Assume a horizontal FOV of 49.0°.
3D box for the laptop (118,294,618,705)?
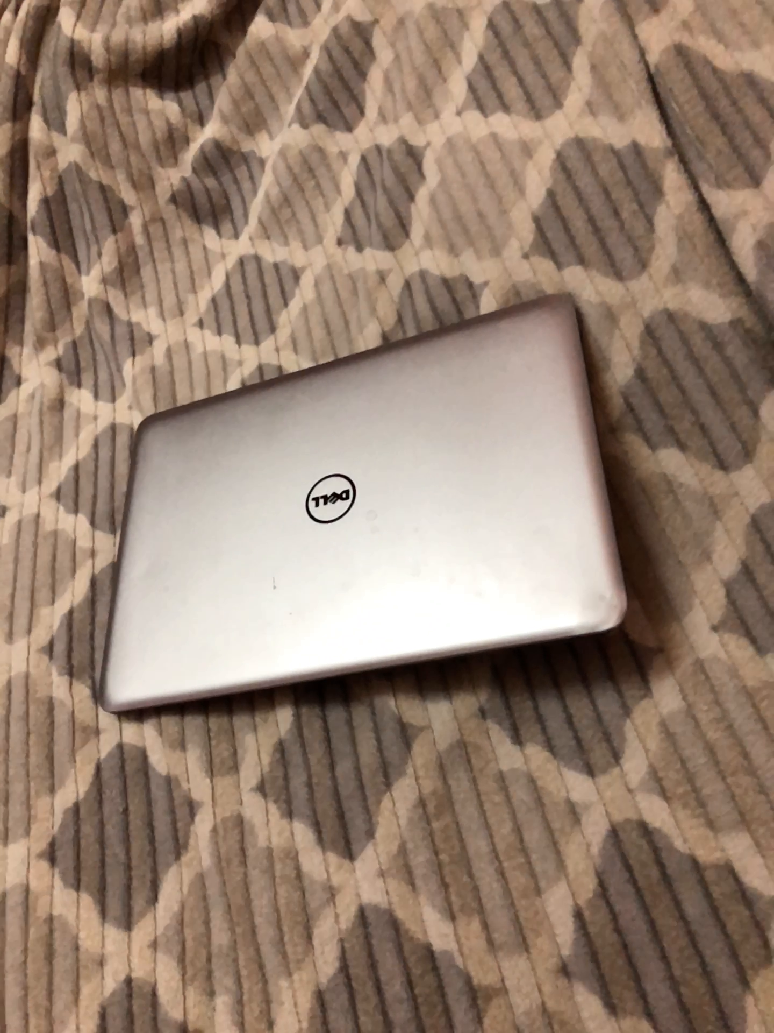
[{"bbox_3d":[-0.033,-0.013,0.622,0.359,0.007,0.252,-13,60,19],"label":"laptop"}]
